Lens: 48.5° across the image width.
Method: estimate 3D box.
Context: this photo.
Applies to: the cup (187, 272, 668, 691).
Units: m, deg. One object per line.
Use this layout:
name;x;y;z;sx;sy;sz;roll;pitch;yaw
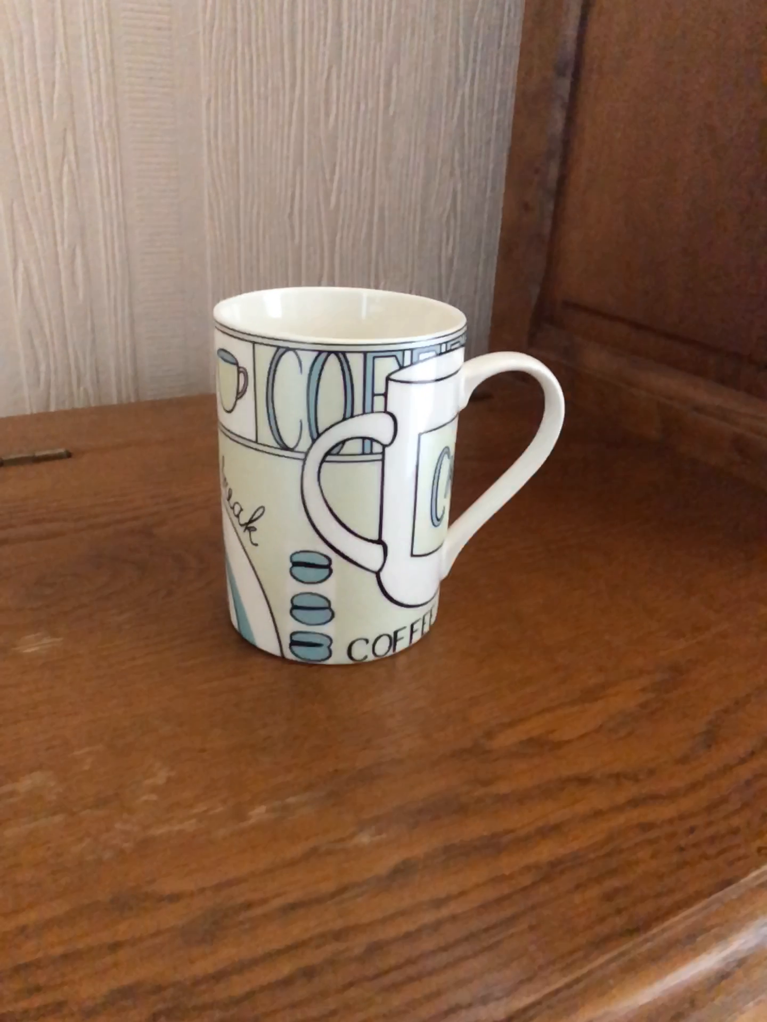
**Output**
cup;0.005;-0.016;0.264;0.120;0.099;0.080;-4;25;-14
